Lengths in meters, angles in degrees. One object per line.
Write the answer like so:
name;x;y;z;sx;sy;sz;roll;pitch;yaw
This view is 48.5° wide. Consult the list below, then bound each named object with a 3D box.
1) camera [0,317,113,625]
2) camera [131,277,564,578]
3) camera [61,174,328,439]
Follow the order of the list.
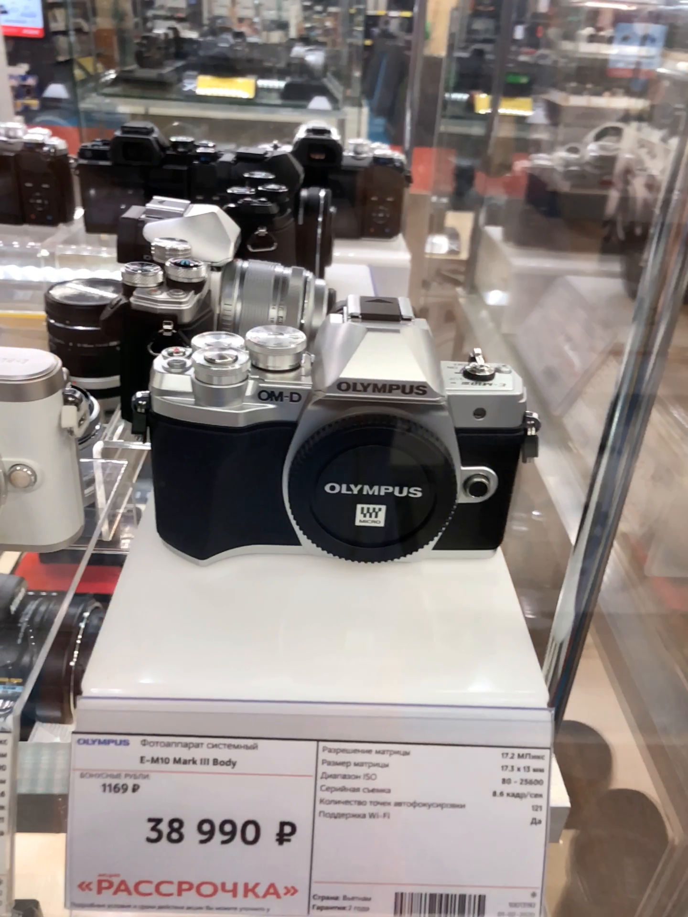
camera;-0.149;0.002;0.246;0.124;0.068;0.068;3;30;-2
camera;-0.001;-0.012;0.261;0.121;0.077;0.065;2;30;-3
camera;-0.065;-0.080;0.374;0.101;0.084;0.137;0;30;-6
